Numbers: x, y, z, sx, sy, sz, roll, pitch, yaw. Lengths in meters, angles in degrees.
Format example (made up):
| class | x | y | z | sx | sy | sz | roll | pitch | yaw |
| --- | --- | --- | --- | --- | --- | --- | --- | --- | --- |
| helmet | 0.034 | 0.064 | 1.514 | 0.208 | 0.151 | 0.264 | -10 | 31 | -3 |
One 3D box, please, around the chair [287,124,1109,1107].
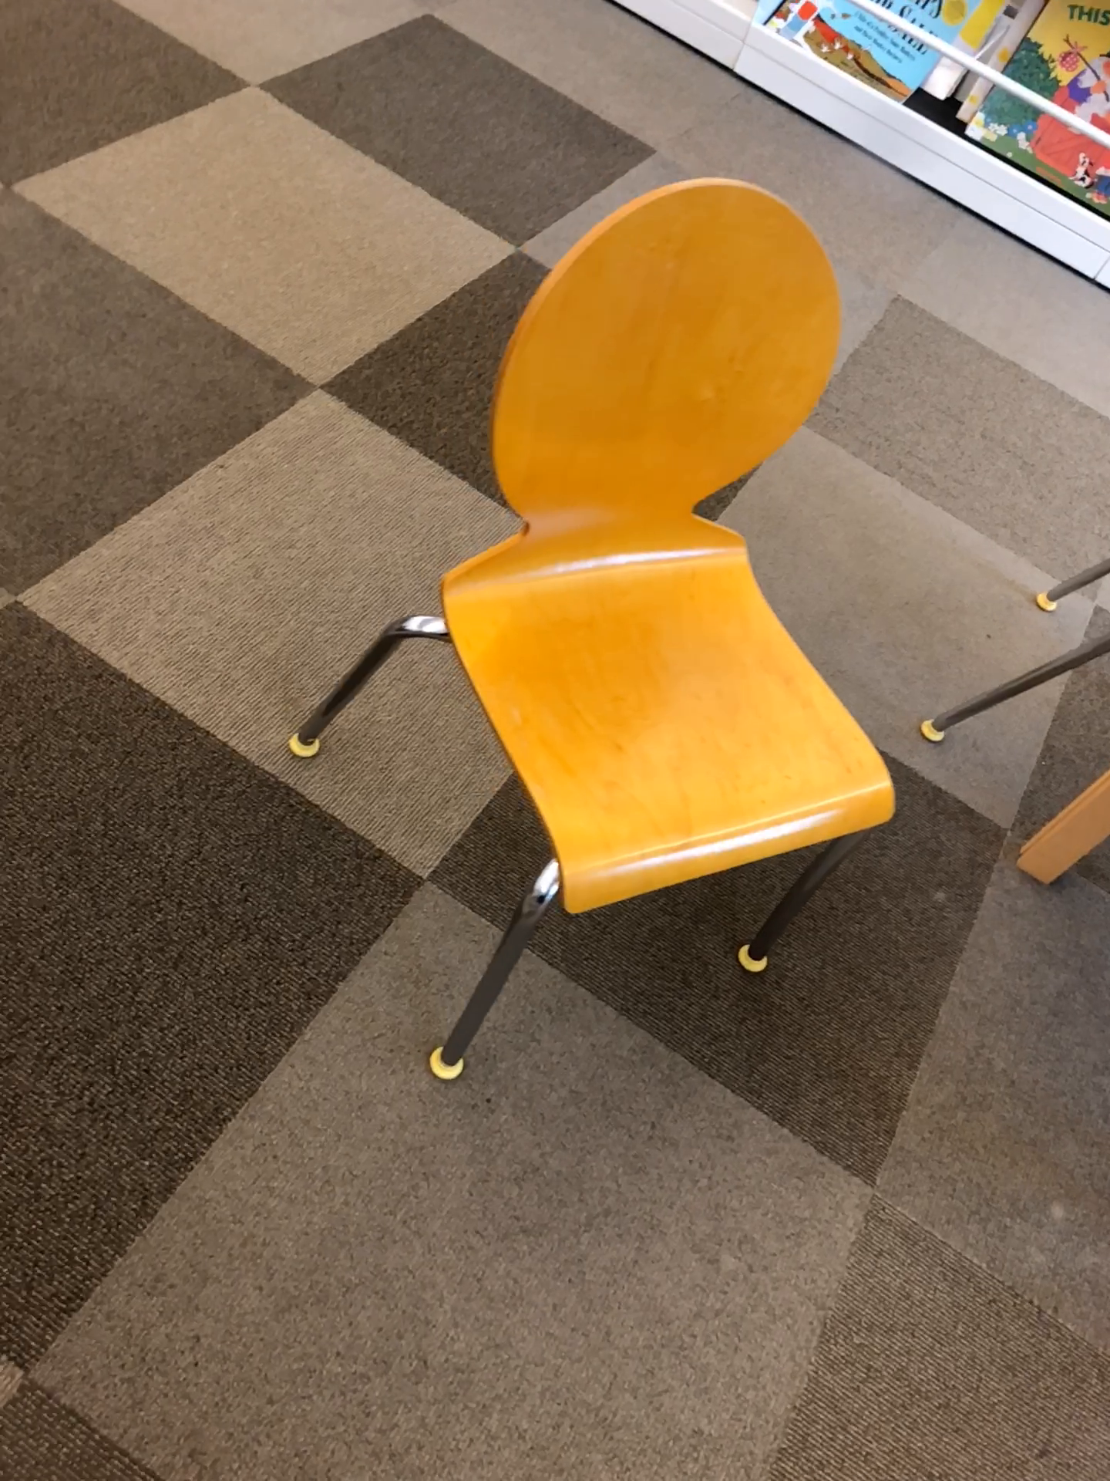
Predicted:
| class | x | y | z | sx | sy | sz | roll | pitch | yaw |
| --- | --- | --- | --- | --- | --- | --- | --- | --- | --- |
| chair | 0.090 | -0.080 | 1.142 | 0.466 | 0.723 | 0.471 | -12 | 59 | -28 |
